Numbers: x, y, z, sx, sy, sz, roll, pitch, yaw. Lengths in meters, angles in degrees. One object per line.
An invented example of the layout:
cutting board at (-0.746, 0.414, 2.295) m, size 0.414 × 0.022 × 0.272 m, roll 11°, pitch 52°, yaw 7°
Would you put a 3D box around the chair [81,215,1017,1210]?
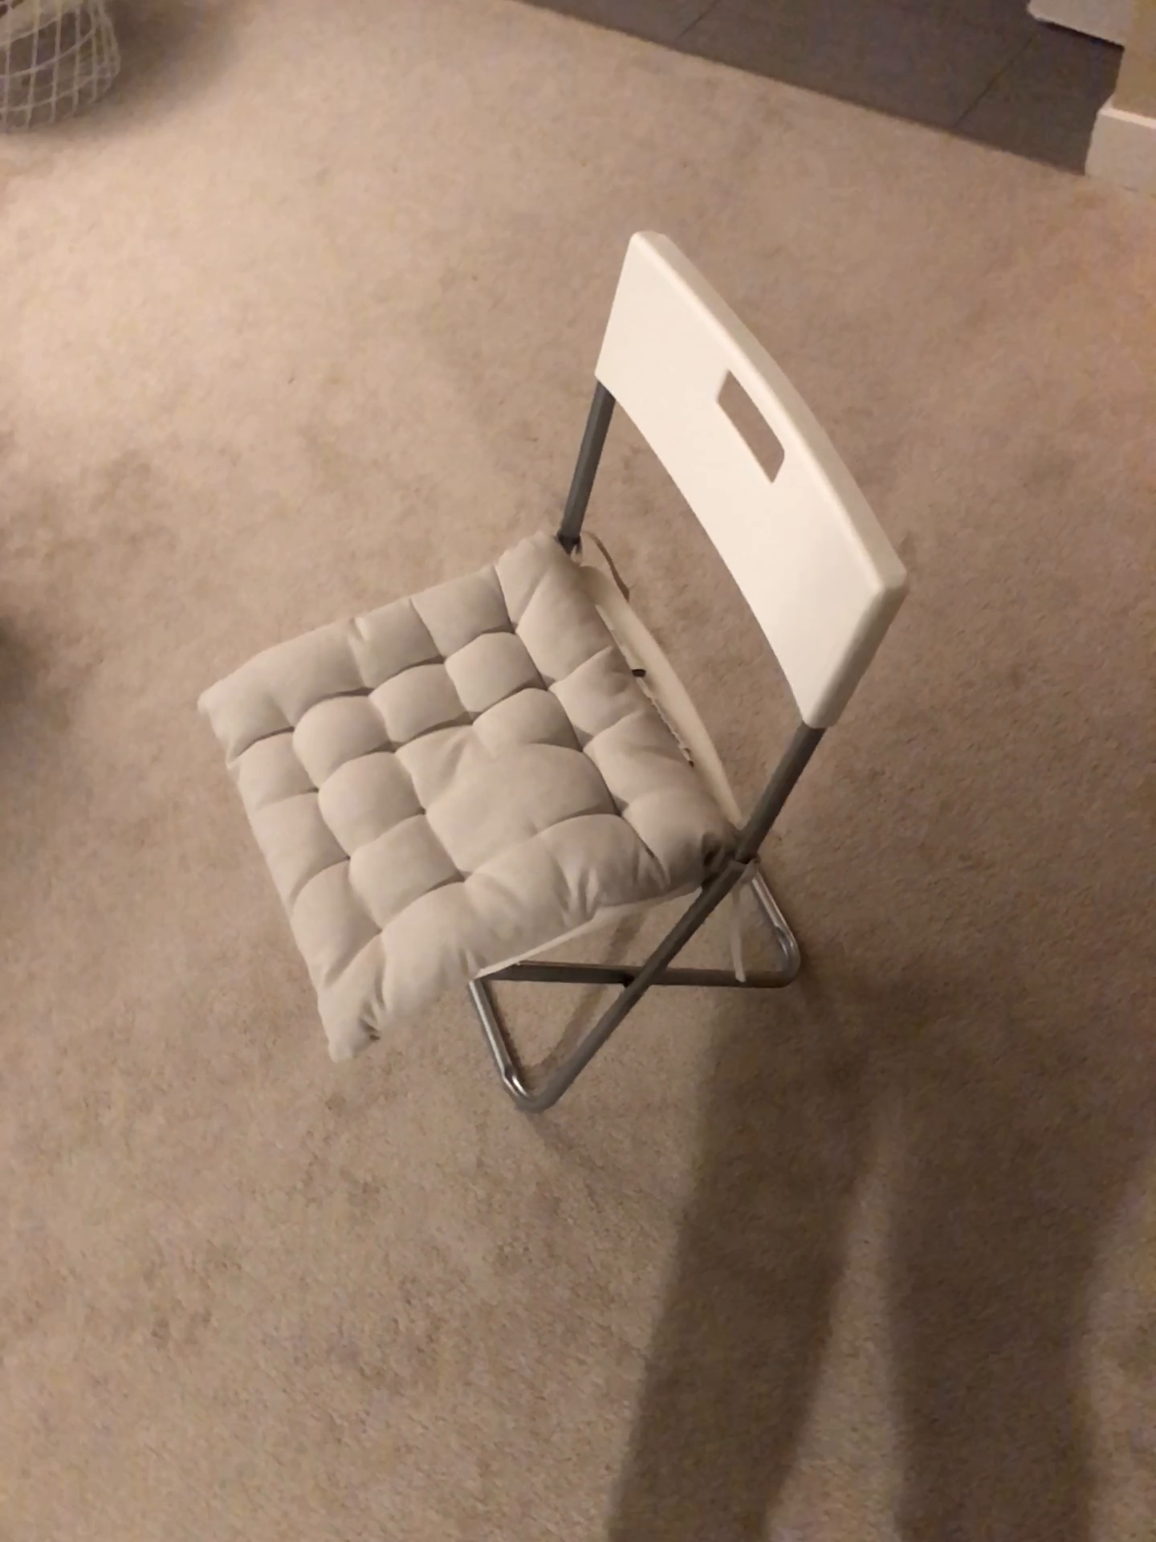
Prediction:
chair at (-0.019, -0.008, 1.213) m, size 0.540 × 0.667 × 0.512 m, roll -23°, pitch 59°, yaw -6°
